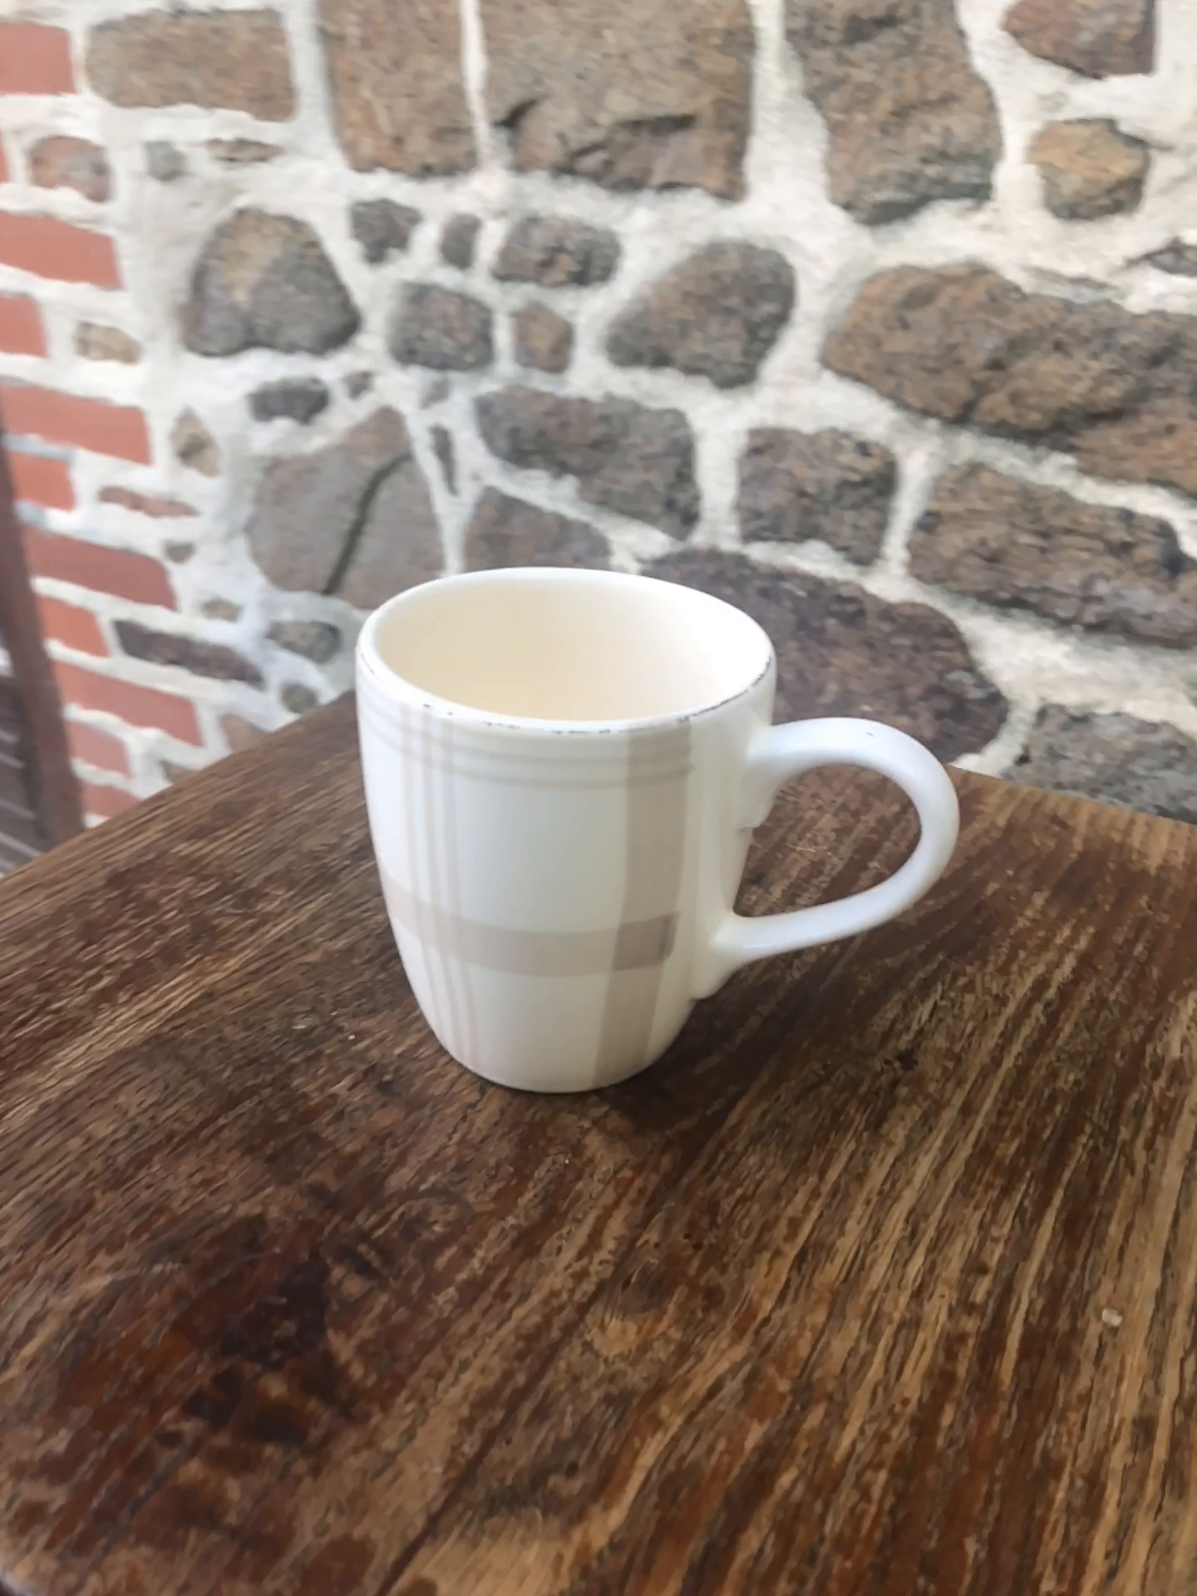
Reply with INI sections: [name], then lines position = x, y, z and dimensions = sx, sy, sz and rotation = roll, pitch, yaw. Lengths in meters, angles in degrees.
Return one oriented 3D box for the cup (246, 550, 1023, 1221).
[cup]
position = 0.010, 0.008, 0.272
dimensions = 0.124, 0.078, 0.088
rotation = 13, 30, 22
